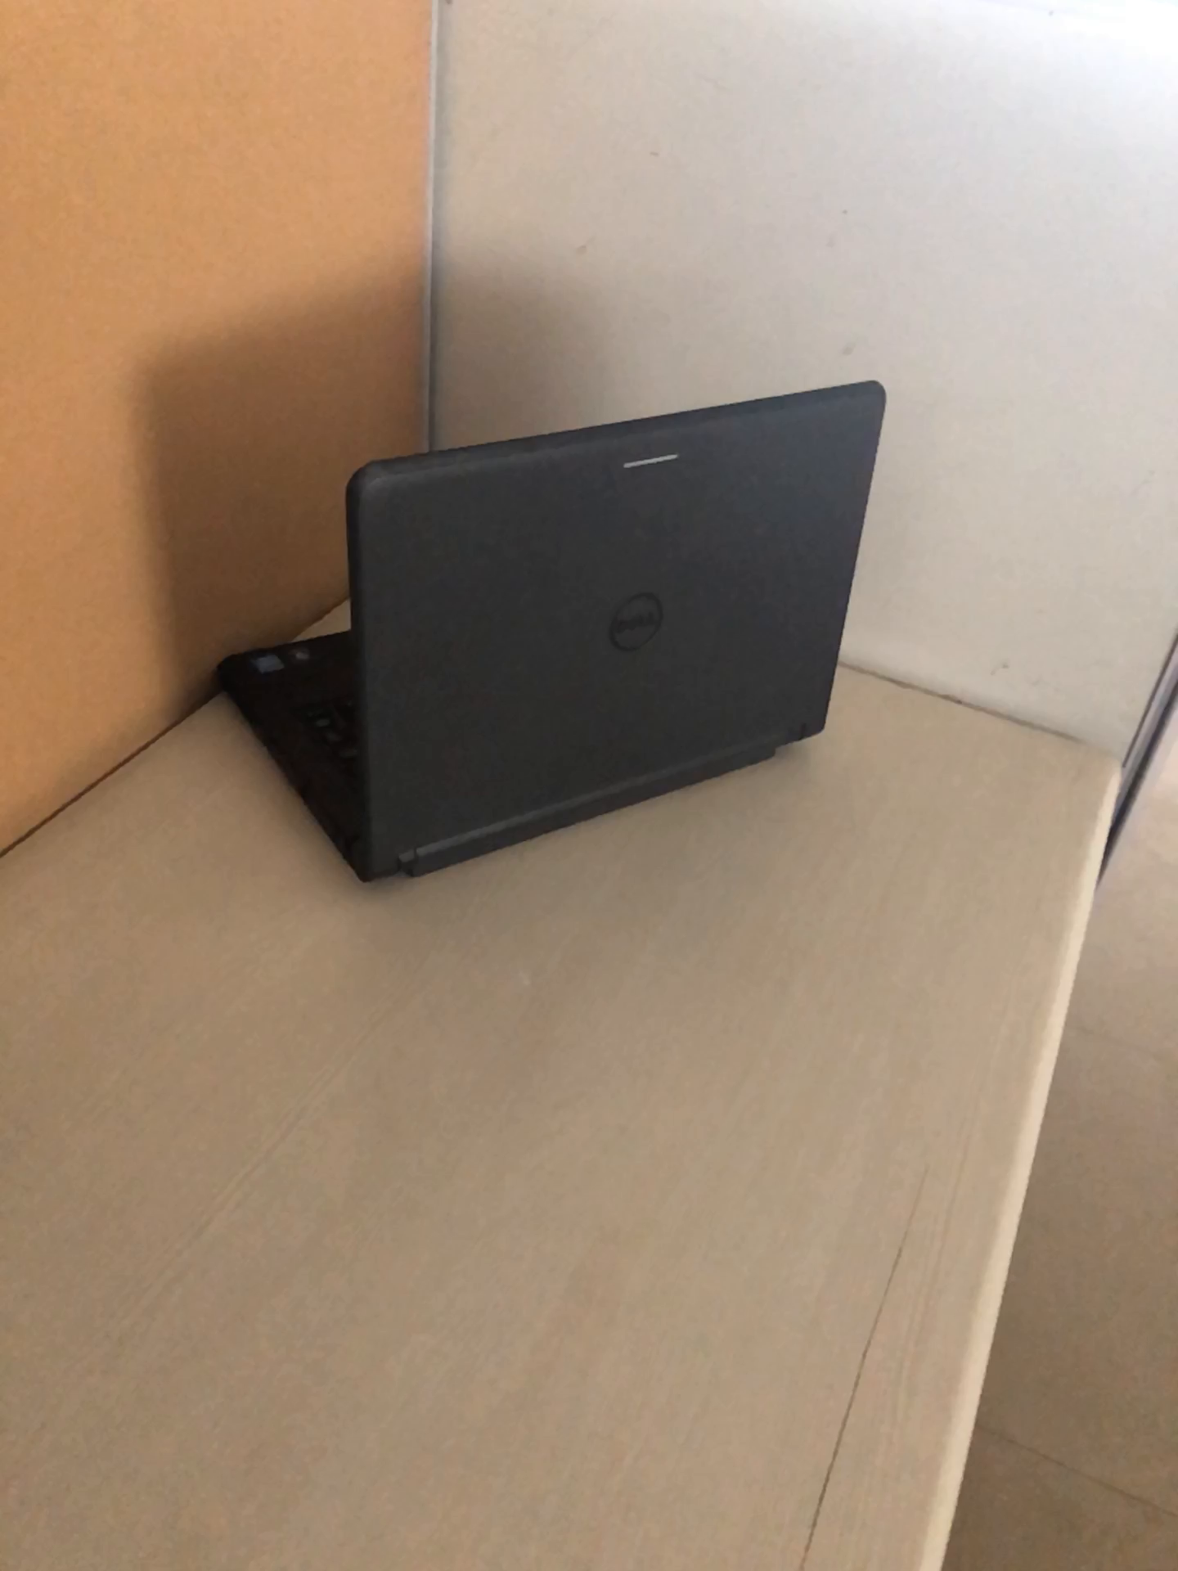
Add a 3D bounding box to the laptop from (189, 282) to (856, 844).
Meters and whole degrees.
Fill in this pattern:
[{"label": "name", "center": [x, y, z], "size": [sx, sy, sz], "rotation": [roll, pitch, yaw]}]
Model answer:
[{"label": "laptop", "center": [-0.045, -0.151, 0.777], "size": [0.305, 0.211, 0.215], "rotation": [-18, 42, -29]}]
